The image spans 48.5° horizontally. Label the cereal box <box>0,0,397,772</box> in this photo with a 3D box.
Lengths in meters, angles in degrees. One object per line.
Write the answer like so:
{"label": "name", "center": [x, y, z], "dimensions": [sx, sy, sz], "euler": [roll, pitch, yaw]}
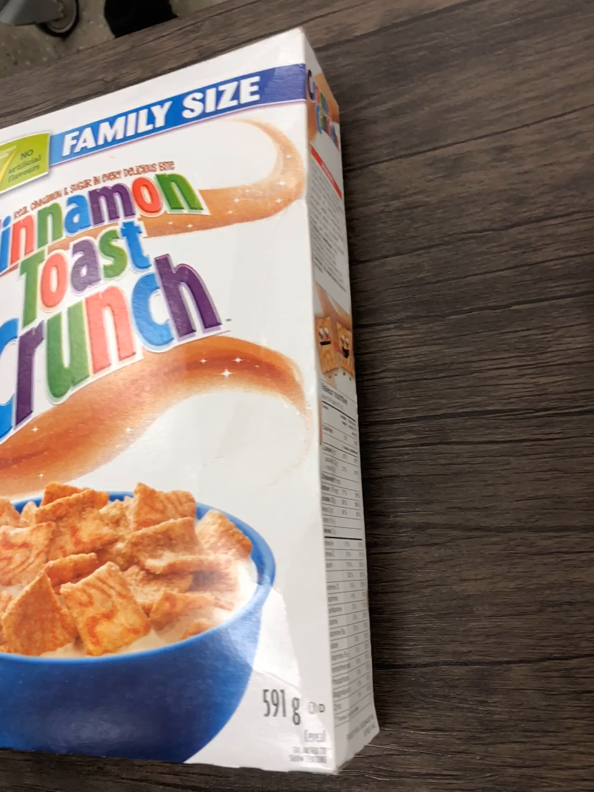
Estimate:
{"label": "cereal box", "center": [-0.090, -0.018, 0.353], "dimensions": [0.250, 0.070, 0.360], "euler": [-7, 73, 19]}
